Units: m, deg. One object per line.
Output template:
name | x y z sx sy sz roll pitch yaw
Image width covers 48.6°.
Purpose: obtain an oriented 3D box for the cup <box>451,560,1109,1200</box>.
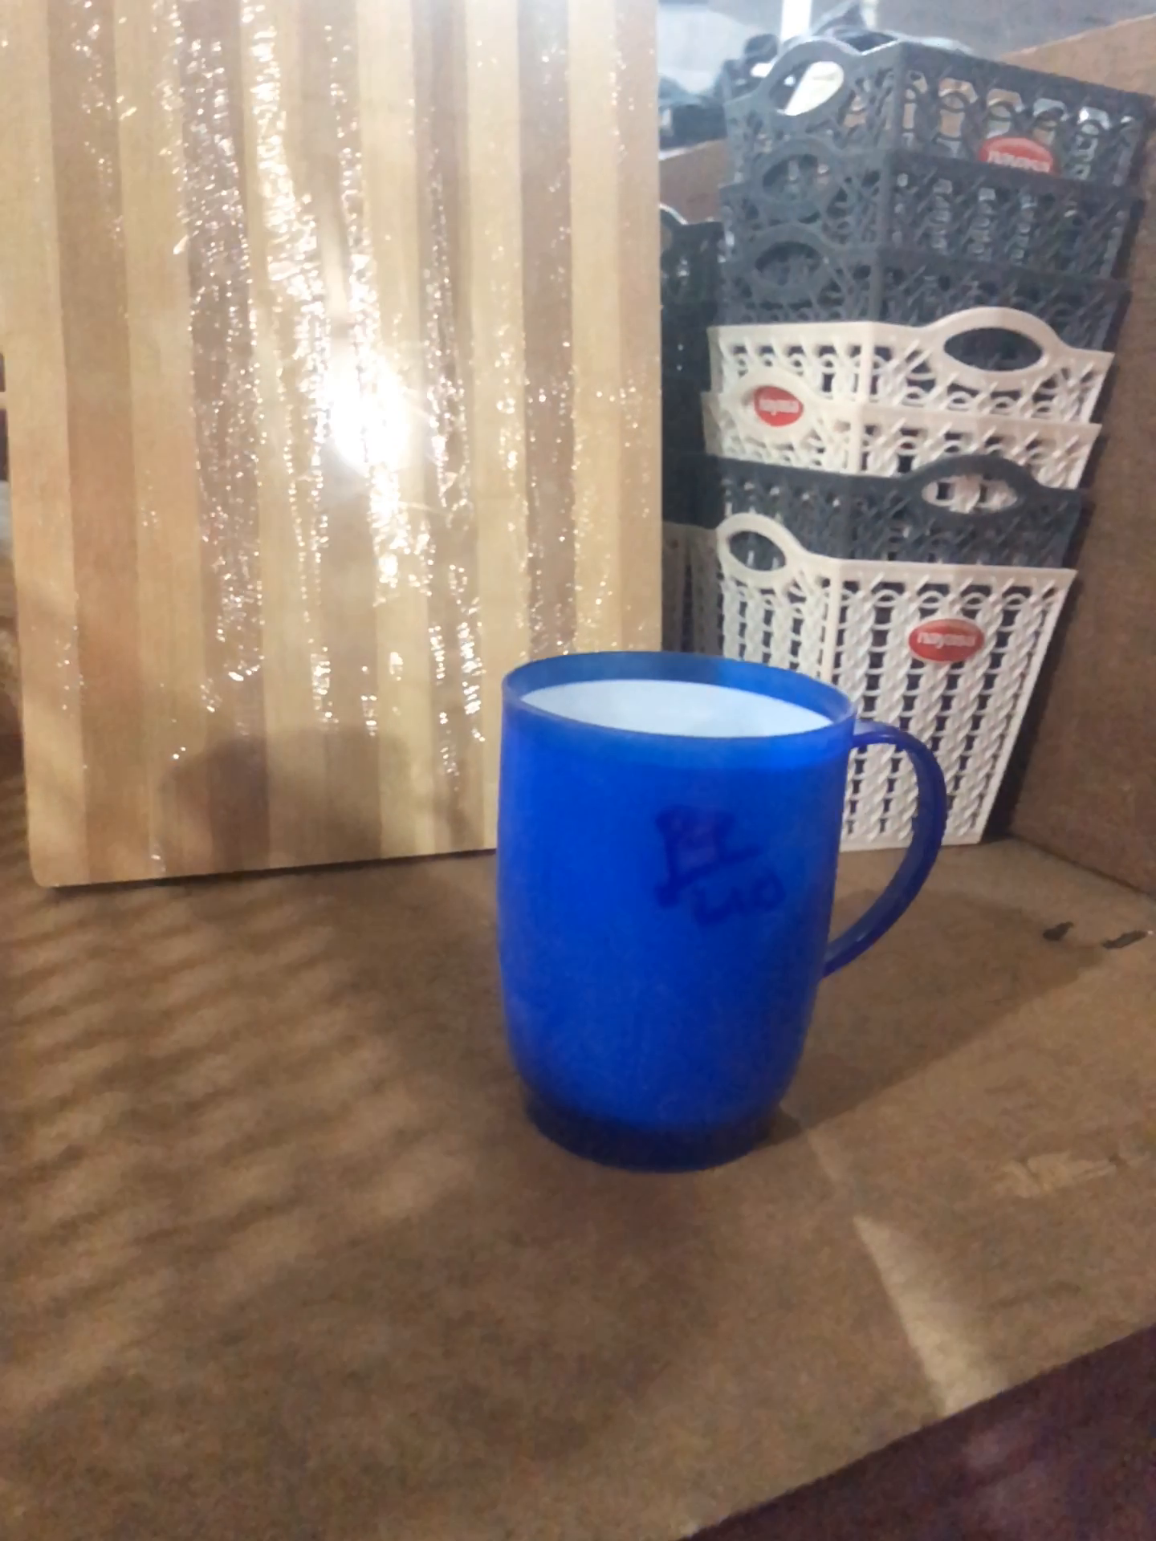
cup | 0.036 0.015 0.276 0.110 0.110 0.070 -3 19 -20
